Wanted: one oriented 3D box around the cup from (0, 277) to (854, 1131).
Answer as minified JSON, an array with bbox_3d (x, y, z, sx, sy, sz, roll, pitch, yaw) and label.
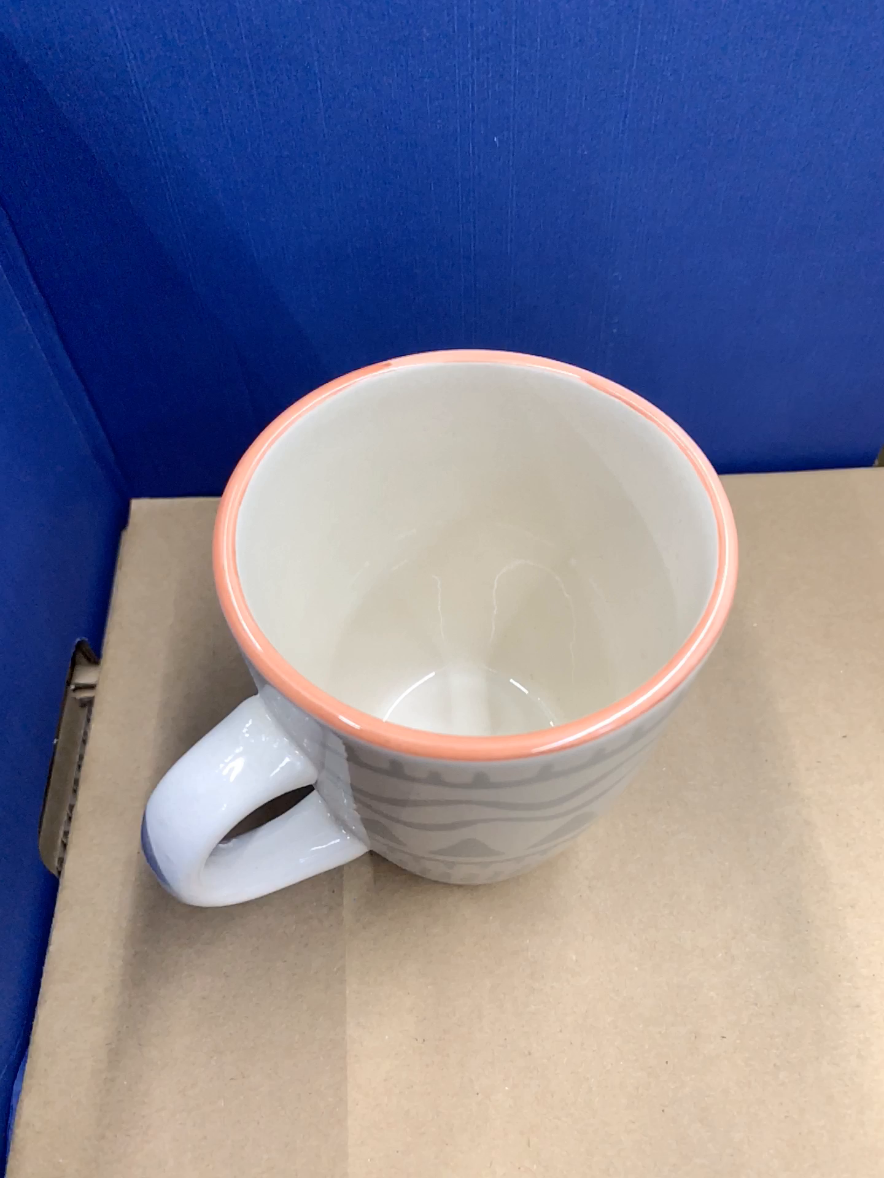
[{"bbox_3d":[-0.004,0.018,0.189,0.097,0.082,0.119,37,63,26],"label":"cup"}]
